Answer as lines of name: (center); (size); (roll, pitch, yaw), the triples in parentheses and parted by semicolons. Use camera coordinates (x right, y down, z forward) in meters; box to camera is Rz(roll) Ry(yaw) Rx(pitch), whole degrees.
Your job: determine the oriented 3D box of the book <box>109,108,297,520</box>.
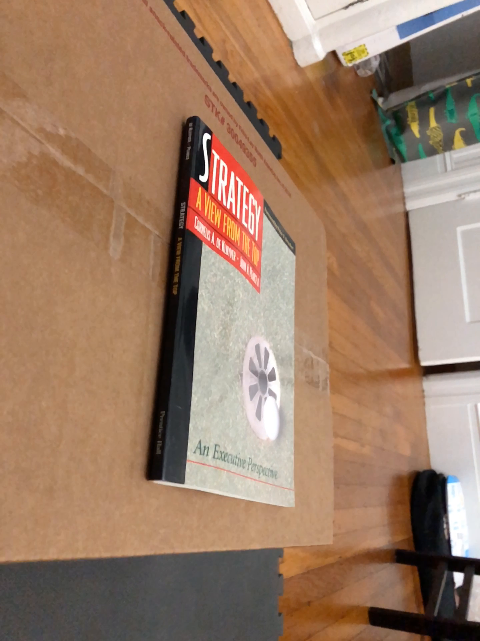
book: (-0.006, 0.007, 0.374); (0.181, 0.020, 0.240); (37, 50, -53)
